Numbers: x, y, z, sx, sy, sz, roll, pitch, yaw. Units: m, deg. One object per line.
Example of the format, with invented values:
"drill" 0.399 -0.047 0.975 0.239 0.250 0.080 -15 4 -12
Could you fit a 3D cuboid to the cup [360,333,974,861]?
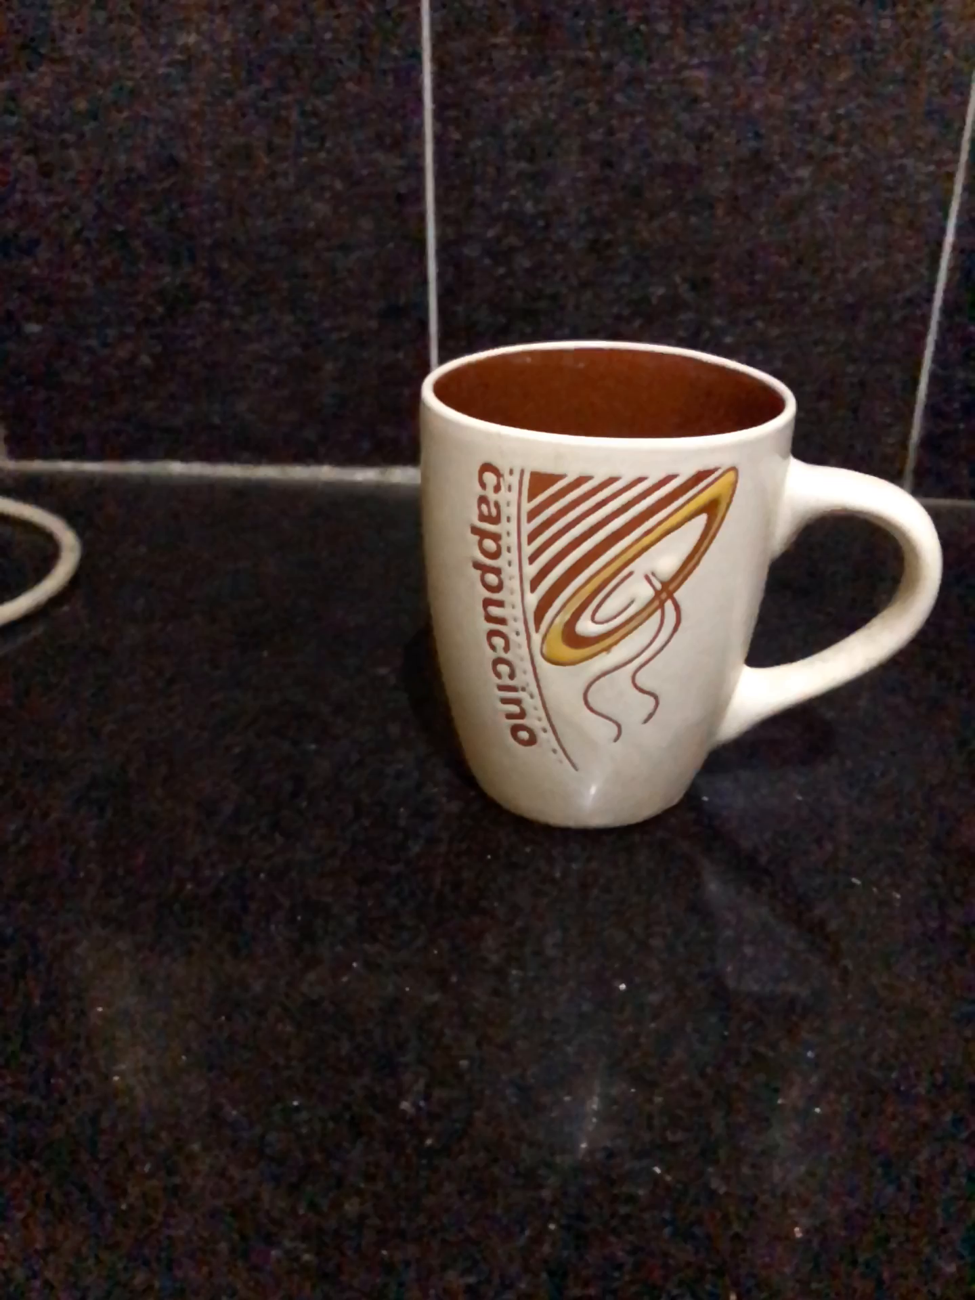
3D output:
"cup" 0.040 -0.018 0.257 0.120 0.089 0.091 2 29 4
